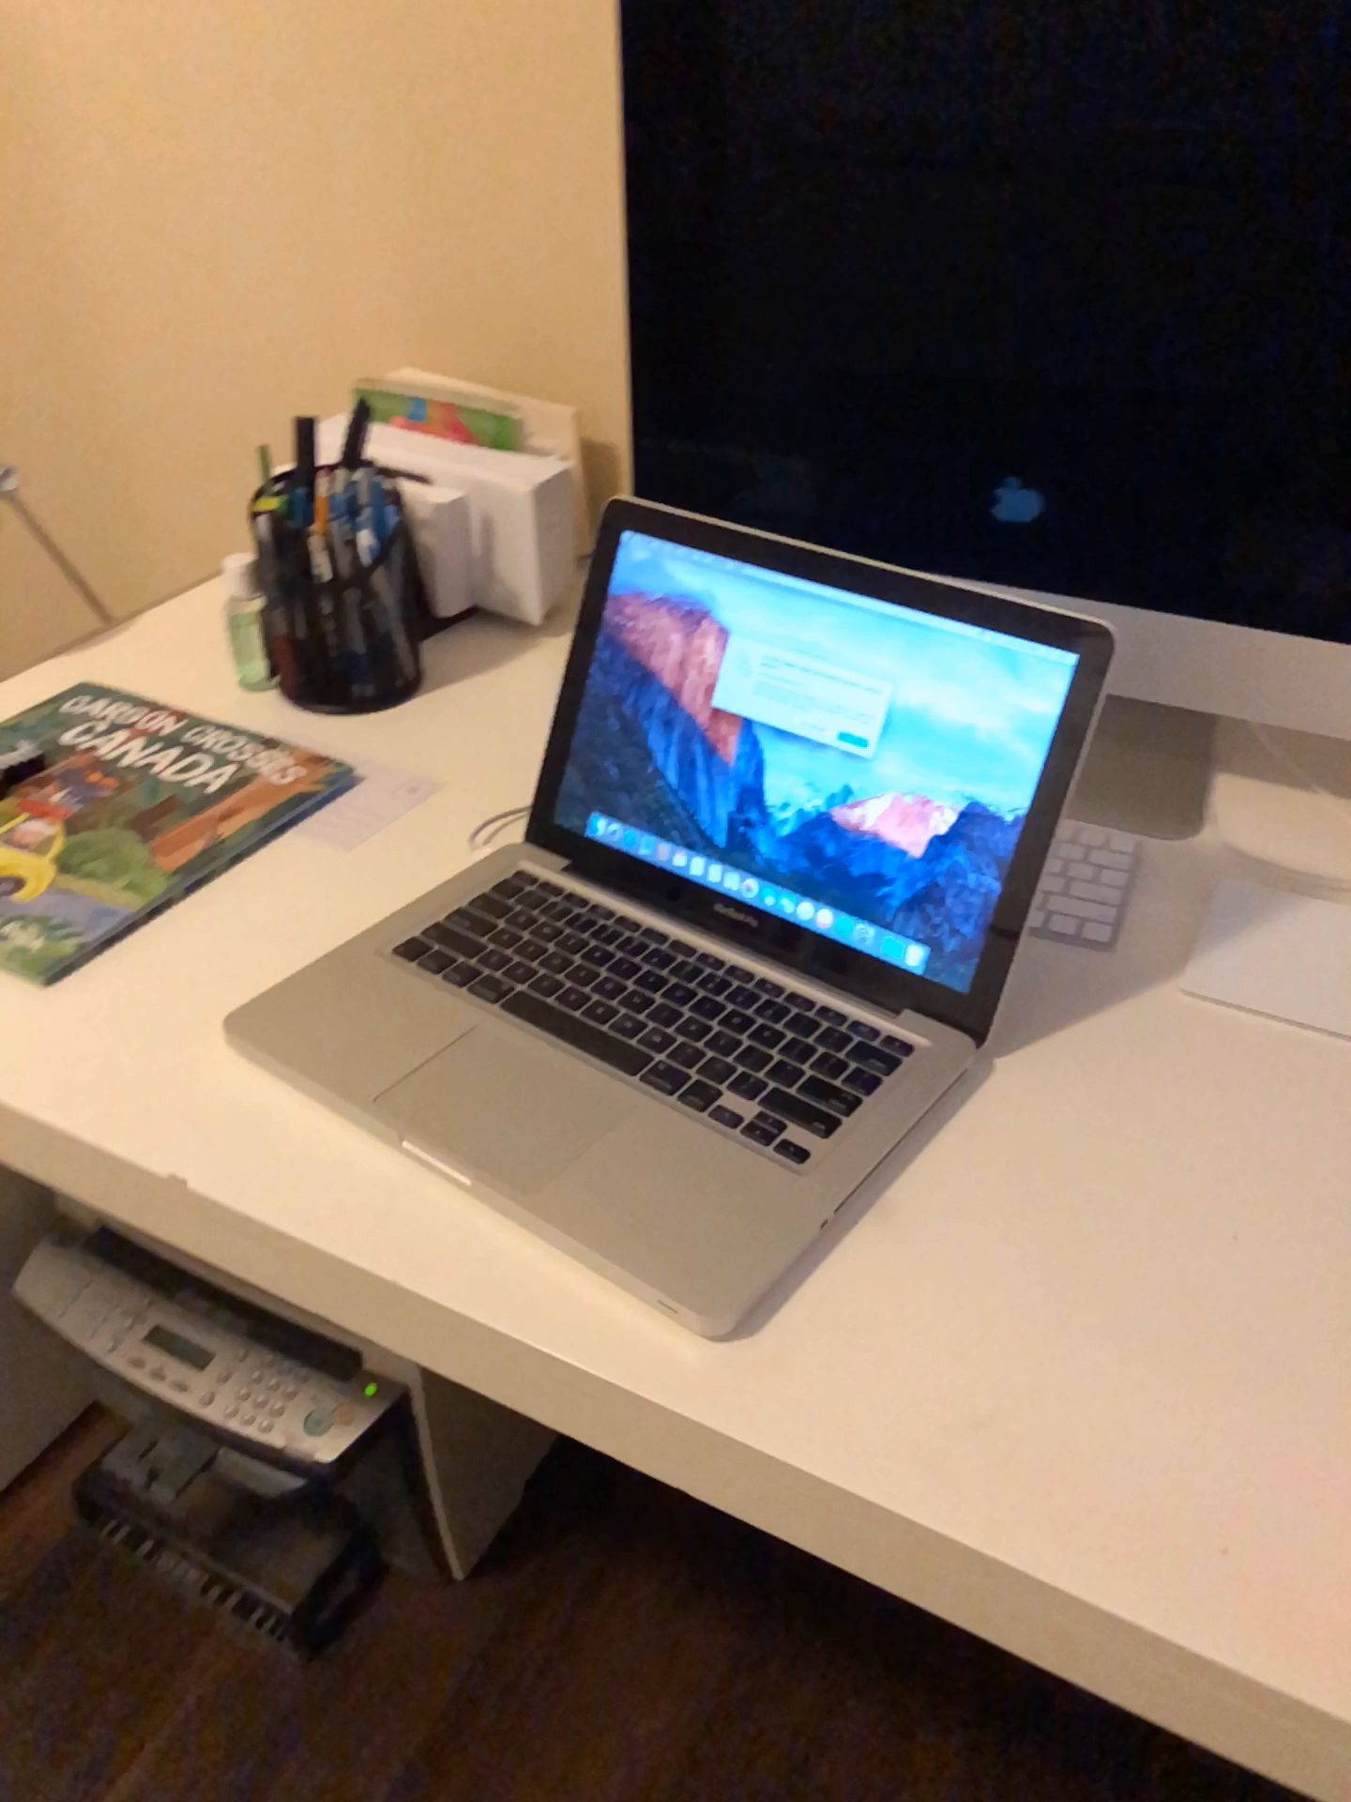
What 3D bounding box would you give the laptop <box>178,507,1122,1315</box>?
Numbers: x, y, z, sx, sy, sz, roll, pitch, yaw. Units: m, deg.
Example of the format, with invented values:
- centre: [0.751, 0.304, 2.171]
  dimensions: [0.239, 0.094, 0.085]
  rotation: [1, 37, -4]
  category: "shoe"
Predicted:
- centre: [-0.004, -0.030, 0.729]
  dimensions: [0.303, 0.187, 0.313]
  rotation: [23, 41, 31]
  category: "laptop"
